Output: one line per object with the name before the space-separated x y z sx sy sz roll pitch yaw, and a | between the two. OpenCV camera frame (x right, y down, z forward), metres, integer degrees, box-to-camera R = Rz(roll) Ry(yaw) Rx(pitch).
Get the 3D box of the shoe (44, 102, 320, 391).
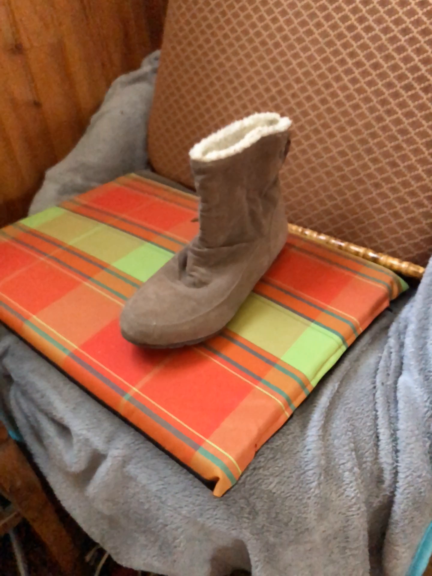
shoe | -0.009 -0.057 0.478 0.100 0.159 0.262 22 46 32
